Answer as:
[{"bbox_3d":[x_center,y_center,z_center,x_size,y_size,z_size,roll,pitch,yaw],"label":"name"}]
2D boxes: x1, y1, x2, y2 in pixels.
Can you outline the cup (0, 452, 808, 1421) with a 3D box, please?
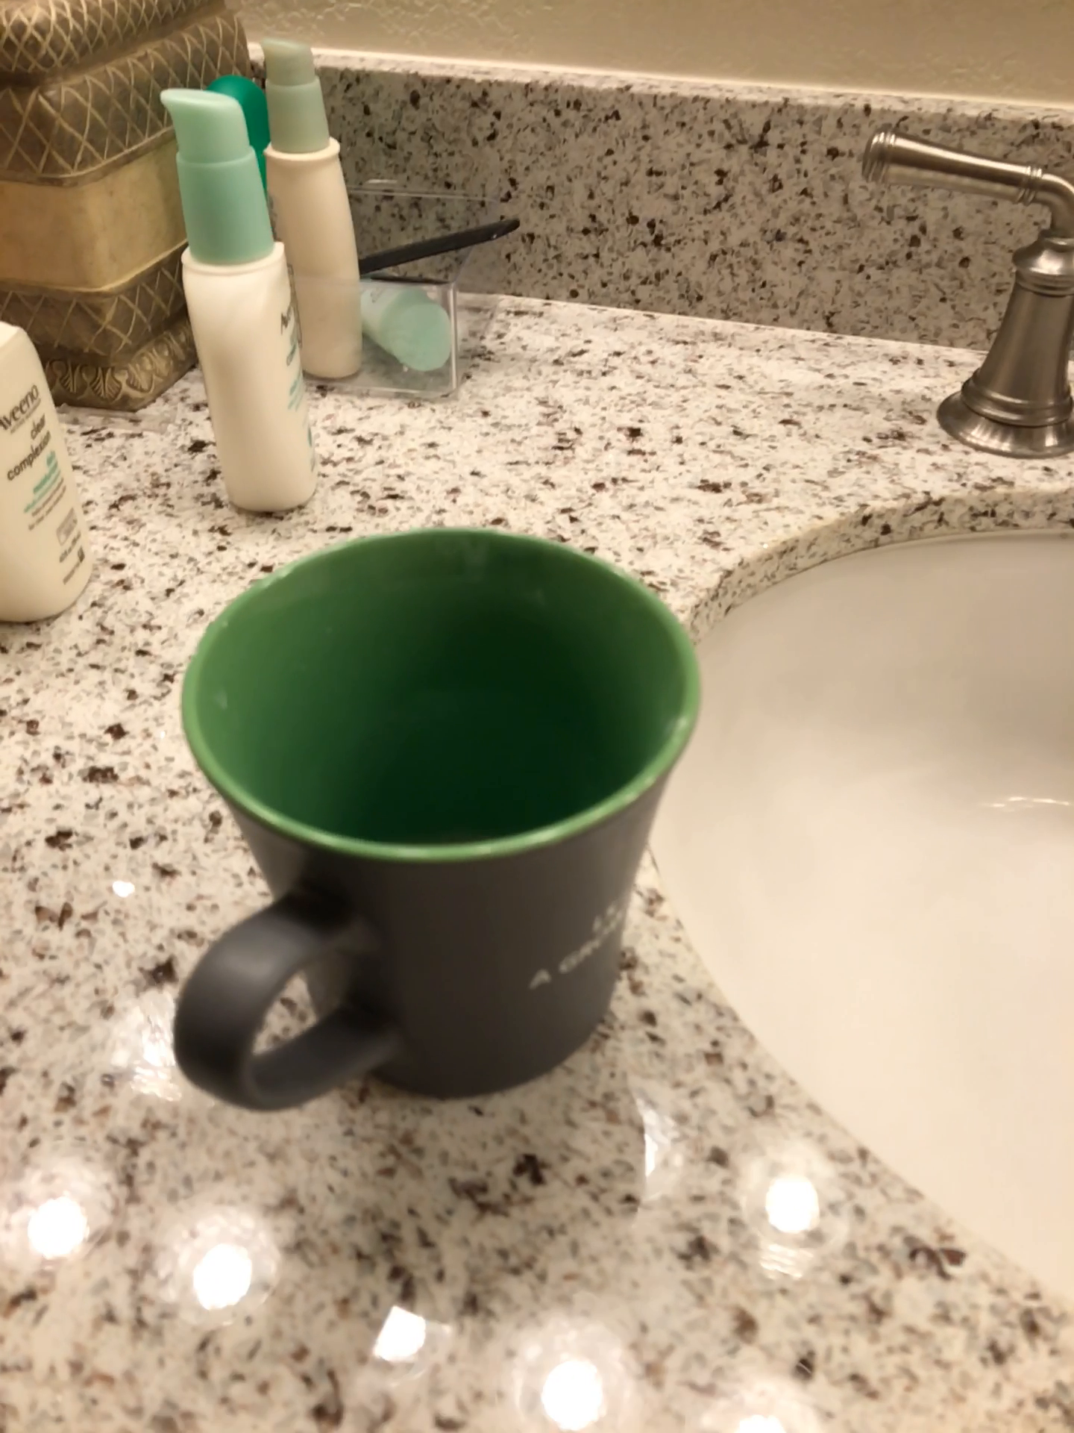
[{"bbox_3d":[-0.017,0.035,0.245,0.100,0.109,0.141,16,44,17],"label":"cup"}]
